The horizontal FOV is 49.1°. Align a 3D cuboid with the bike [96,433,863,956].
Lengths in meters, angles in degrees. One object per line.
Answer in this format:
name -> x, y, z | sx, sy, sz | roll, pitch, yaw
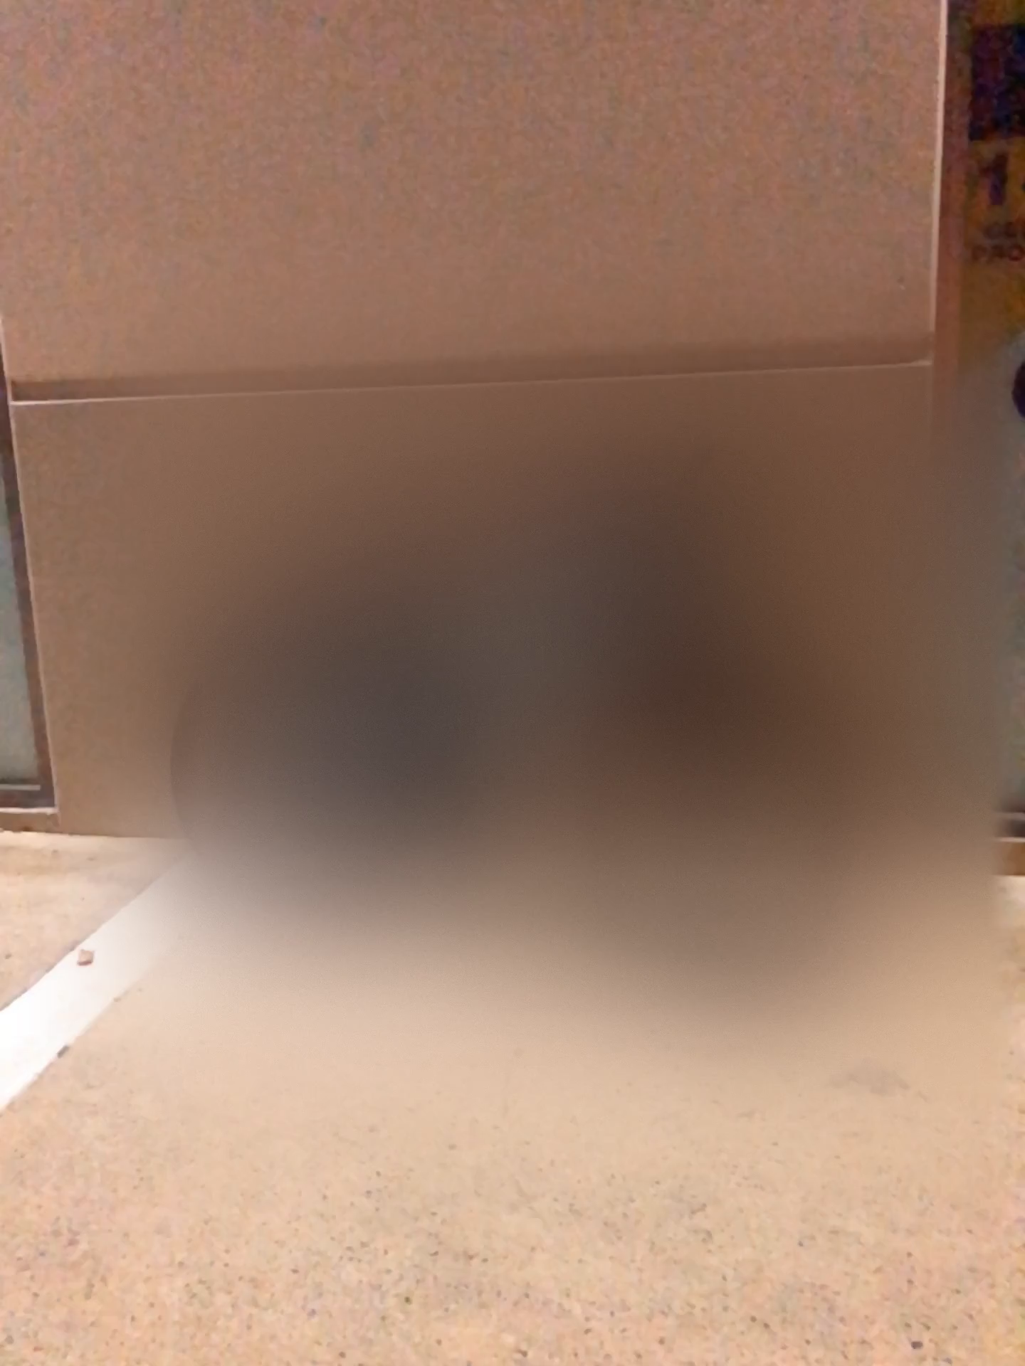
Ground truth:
bike -> -0.027, -0.014, 2.691 | 1.602, 1.065, 0.589 | 0, 12, 14
